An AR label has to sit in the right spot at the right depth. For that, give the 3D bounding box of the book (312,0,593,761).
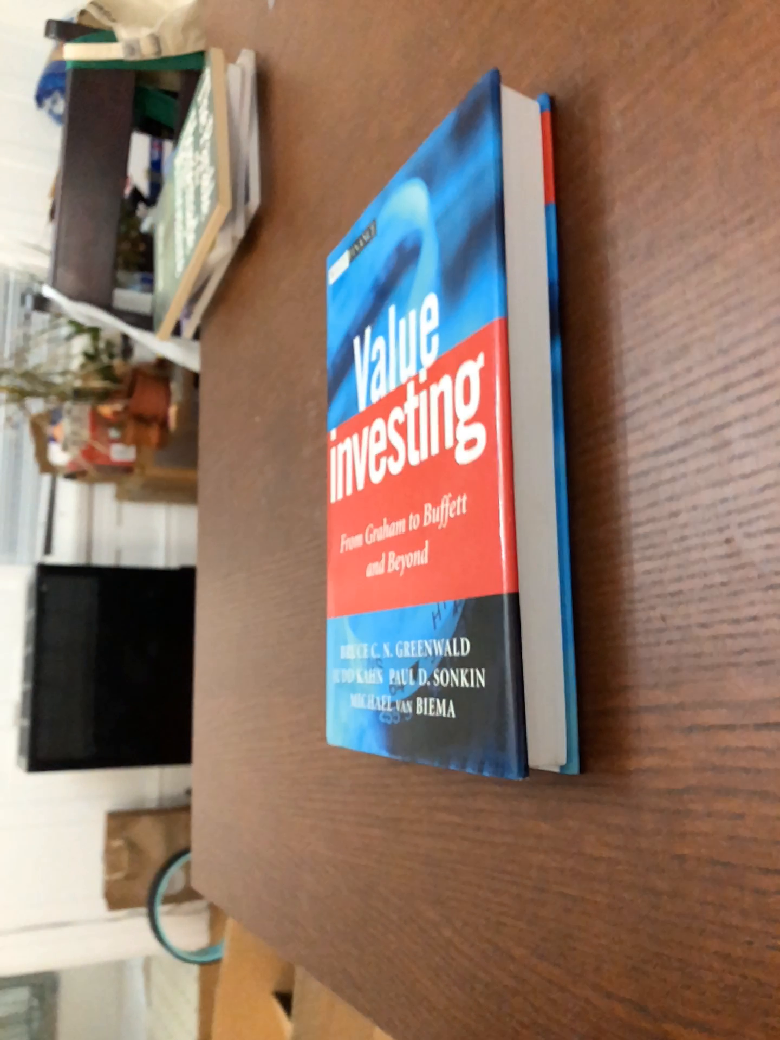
[{"bbox_3d":[0.011,-0.036,0.332,0.171,0.020,0.230,162,110,-63],"label":"book"}]
